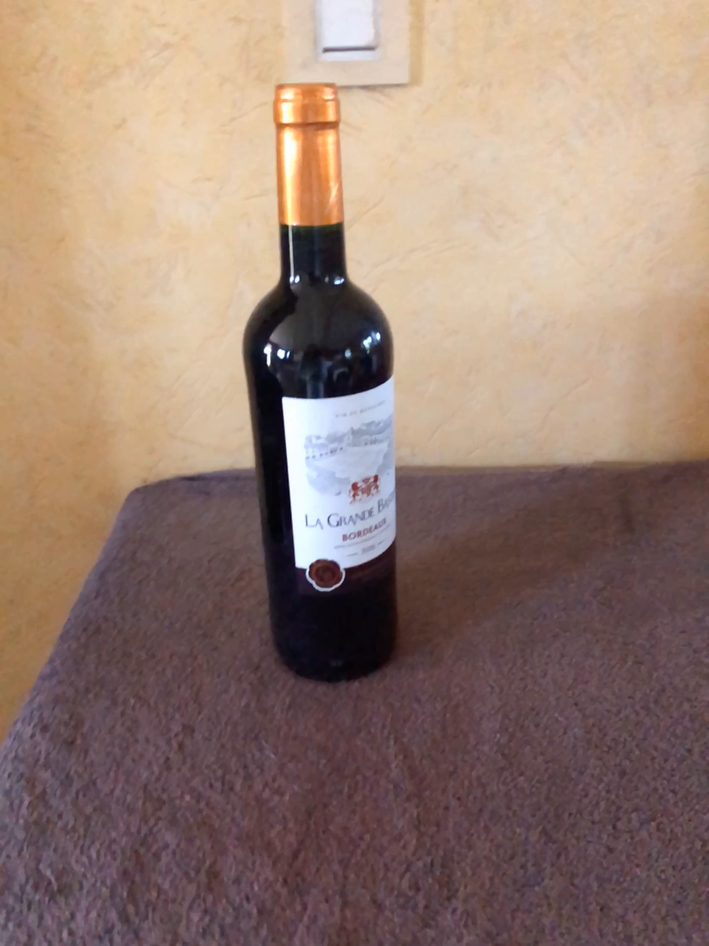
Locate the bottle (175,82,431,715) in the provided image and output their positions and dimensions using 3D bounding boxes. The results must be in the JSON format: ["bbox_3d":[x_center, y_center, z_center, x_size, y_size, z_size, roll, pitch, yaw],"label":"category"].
[{"bbox_3d":[-0.018,-0.030,0.400,0.080,0.298,0.080,-2,27,1],"label":"bottle"}]
